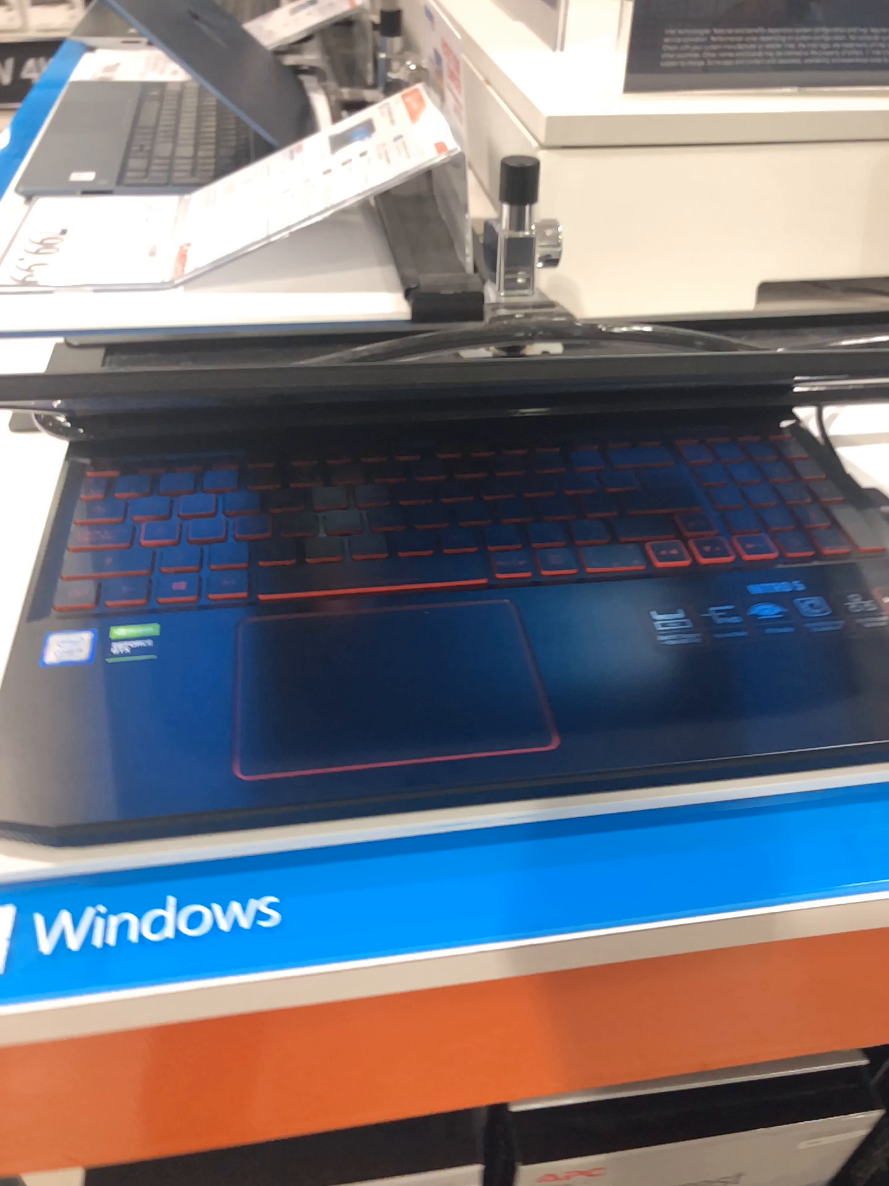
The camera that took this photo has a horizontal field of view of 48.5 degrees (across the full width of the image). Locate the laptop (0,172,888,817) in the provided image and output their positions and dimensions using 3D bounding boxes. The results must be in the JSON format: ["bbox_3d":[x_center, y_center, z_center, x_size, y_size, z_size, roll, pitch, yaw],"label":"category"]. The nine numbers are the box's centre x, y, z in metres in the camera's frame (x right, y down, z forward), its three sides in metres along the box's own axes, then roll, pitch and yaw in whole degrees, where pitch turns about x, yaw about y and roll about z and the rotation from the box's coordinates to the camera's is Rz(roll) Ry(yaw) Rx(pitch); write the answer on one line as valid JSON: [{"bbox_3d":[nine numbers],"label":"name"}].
[{"bbox_3d":[0.015,-0.061,0.368,0.343,0.121,0.219,-4,39,-9],"label":"laptop"}]
